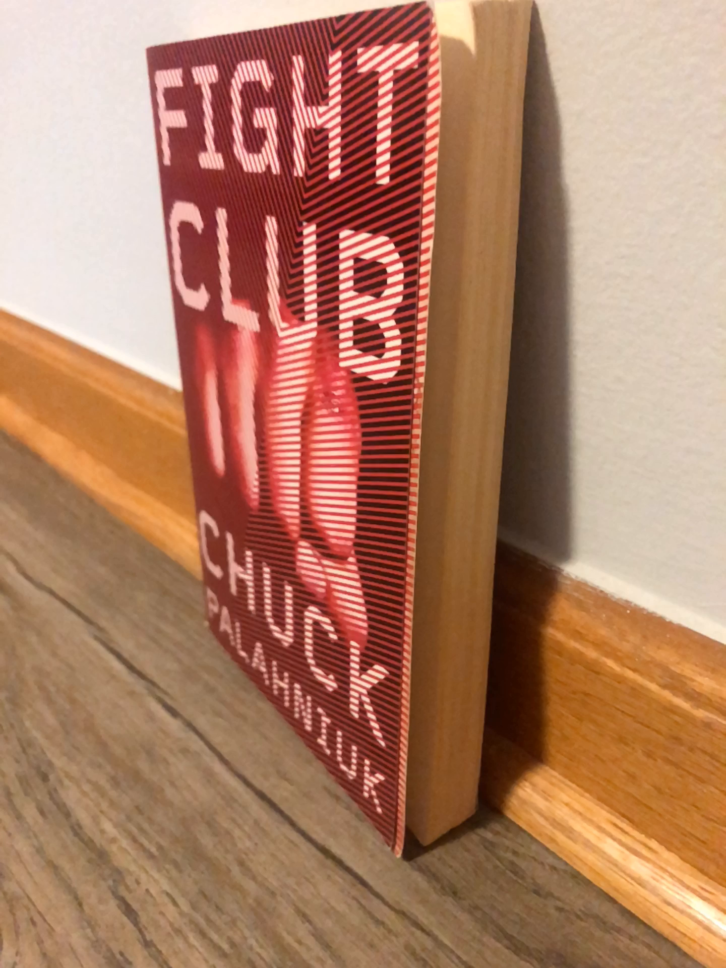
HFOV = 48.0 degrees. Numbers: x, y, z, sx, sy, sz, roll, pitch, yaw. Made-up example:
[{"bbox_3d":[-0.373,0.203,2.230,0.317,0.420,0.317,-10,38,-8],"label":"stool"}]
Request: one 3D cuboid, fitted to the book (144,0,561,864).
[{"bbox_3d":[-0.012,-0.017,0.244,0.030,0.210,0.139,-17,29,-31],"label":"book"}]
